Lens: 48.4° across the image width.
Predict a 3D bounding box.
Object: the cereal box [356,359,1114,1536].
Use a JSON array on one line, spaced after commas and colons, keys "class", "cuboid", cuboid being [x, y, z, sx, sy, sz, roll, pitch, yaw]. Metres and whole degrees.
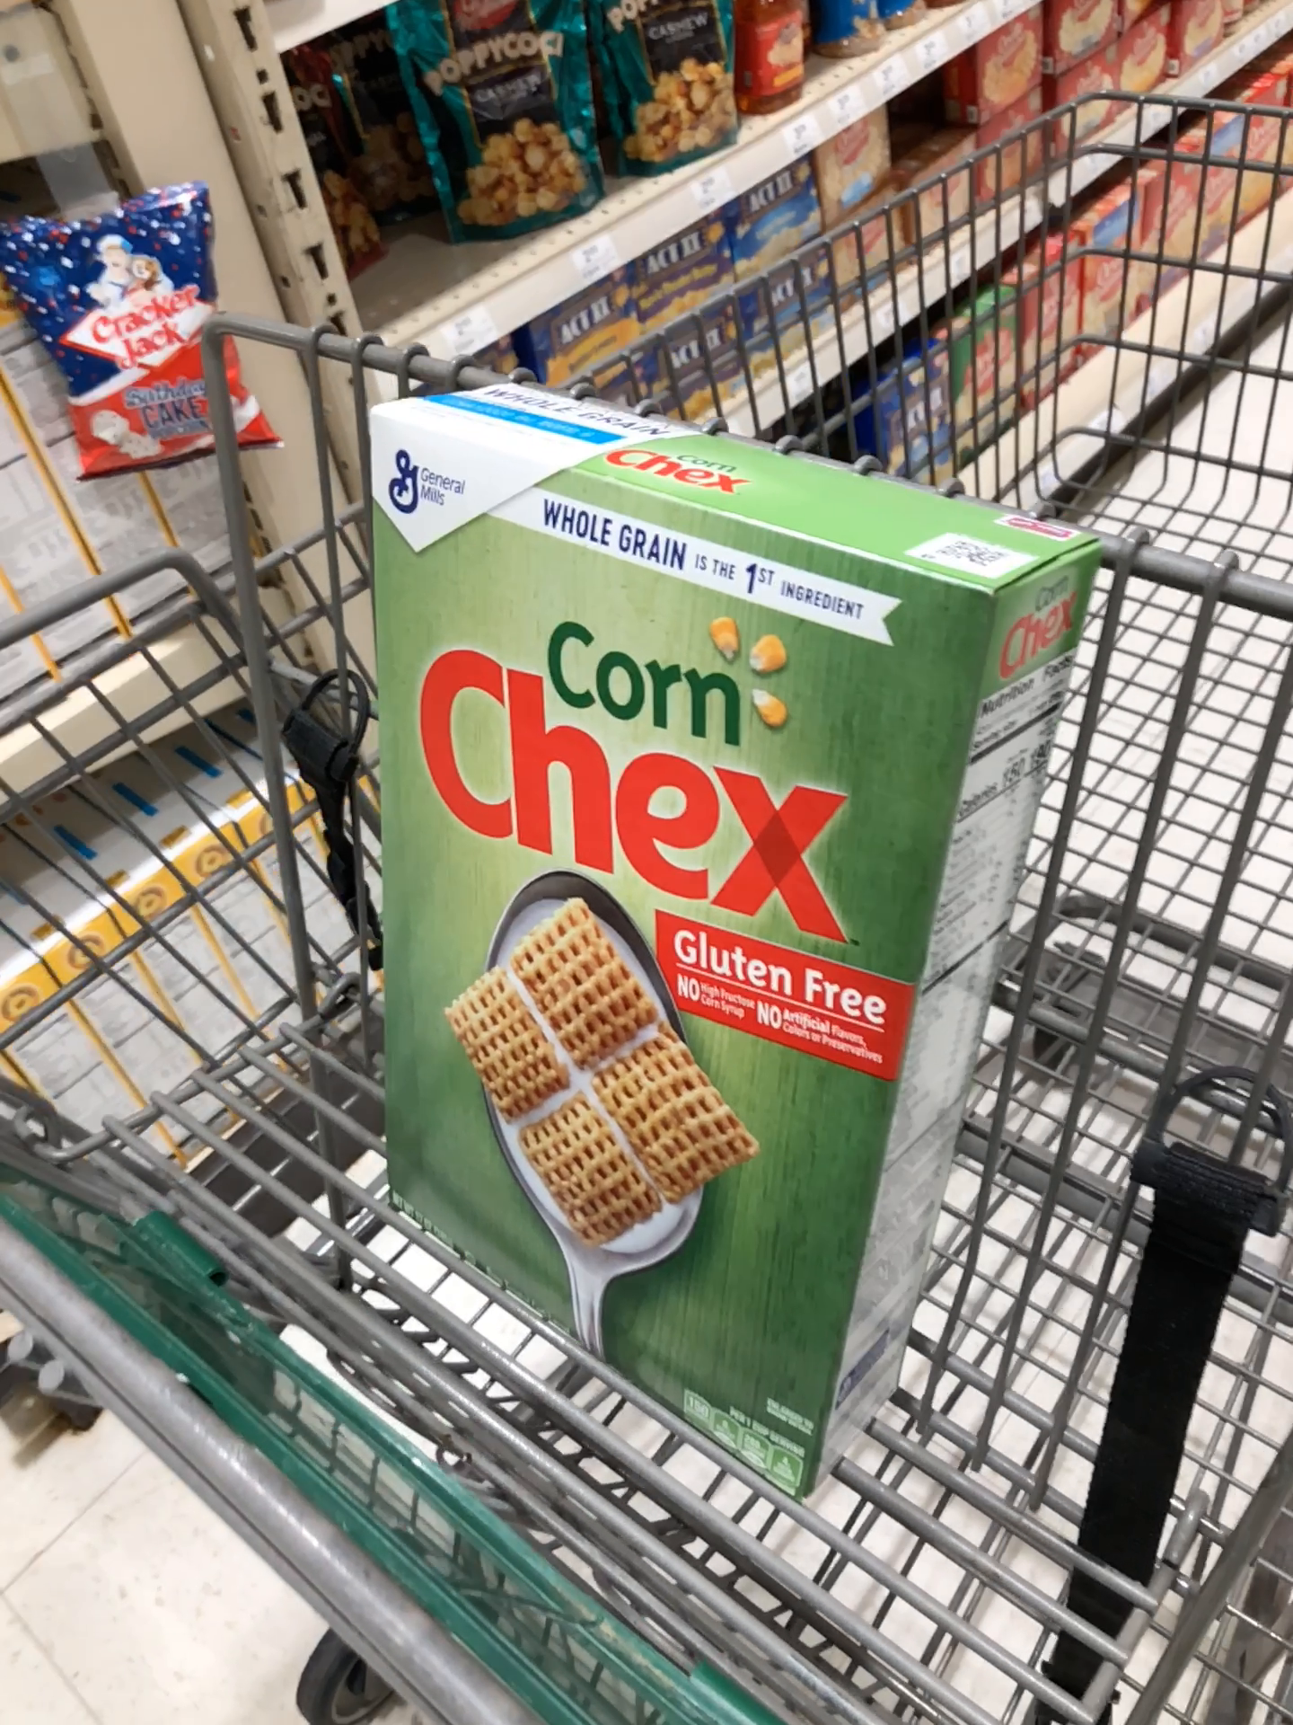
[{"class": "cereal box", "cuboid": [0.002, 0.026, 0.444, 0.200, 0.310, 0.060, 26, 35, 33]}]
